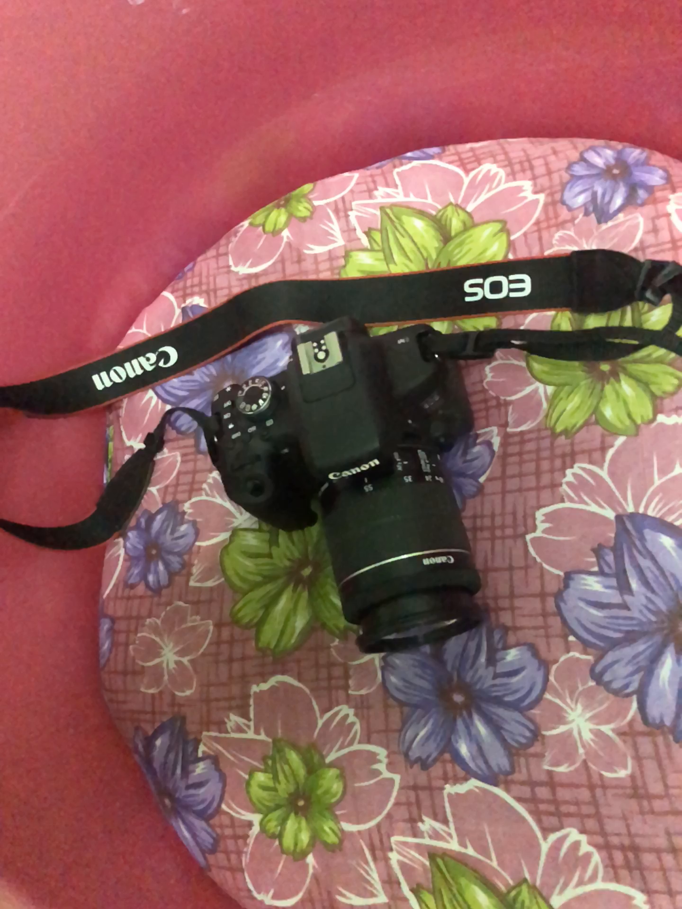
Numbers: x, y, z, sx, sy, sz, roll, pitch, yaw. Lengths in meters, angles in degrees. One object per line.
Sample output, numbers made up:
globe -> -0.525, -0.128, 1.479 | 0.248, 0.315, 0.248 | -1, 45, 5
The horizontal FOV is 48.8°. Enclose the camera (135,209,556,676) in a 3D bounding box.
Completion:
camera -> 0.002, 0.005, 0.350 | 0.140, 0.100, 0.160 | -18, 69, 14
